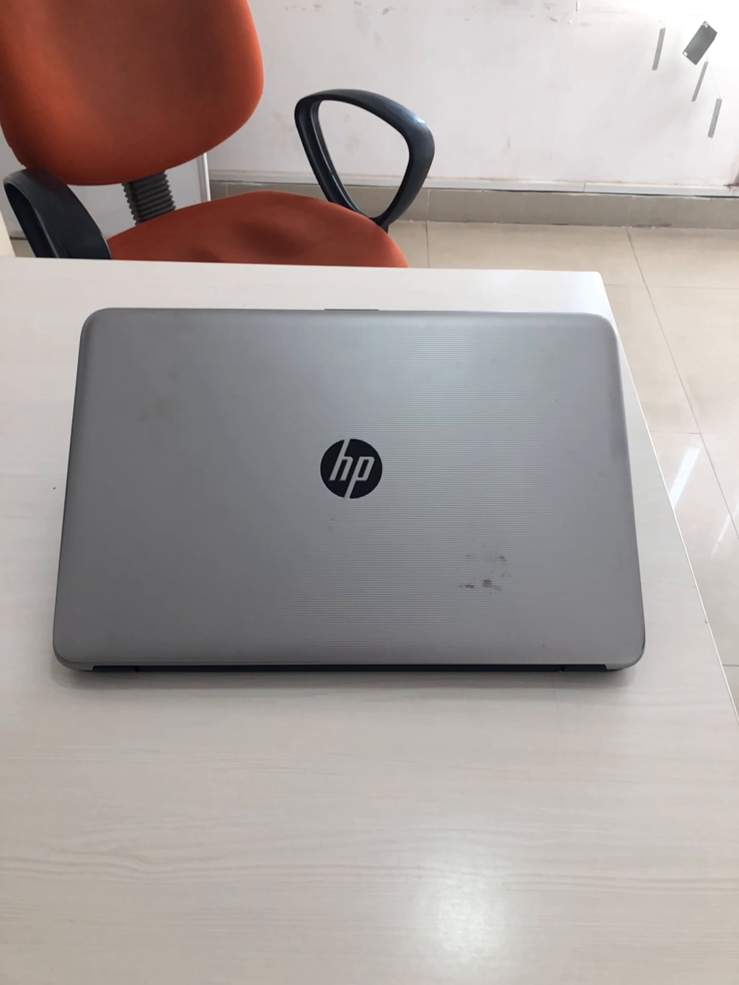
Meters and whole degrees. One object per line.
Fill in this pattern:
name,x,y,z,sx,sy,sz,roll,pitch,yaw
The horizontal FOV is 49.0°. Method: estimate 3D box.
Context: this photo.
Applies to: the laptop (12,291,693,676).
laptop,-0.015,-0.017,0.569,0.369,0.120,0.253,-1,47,-1
